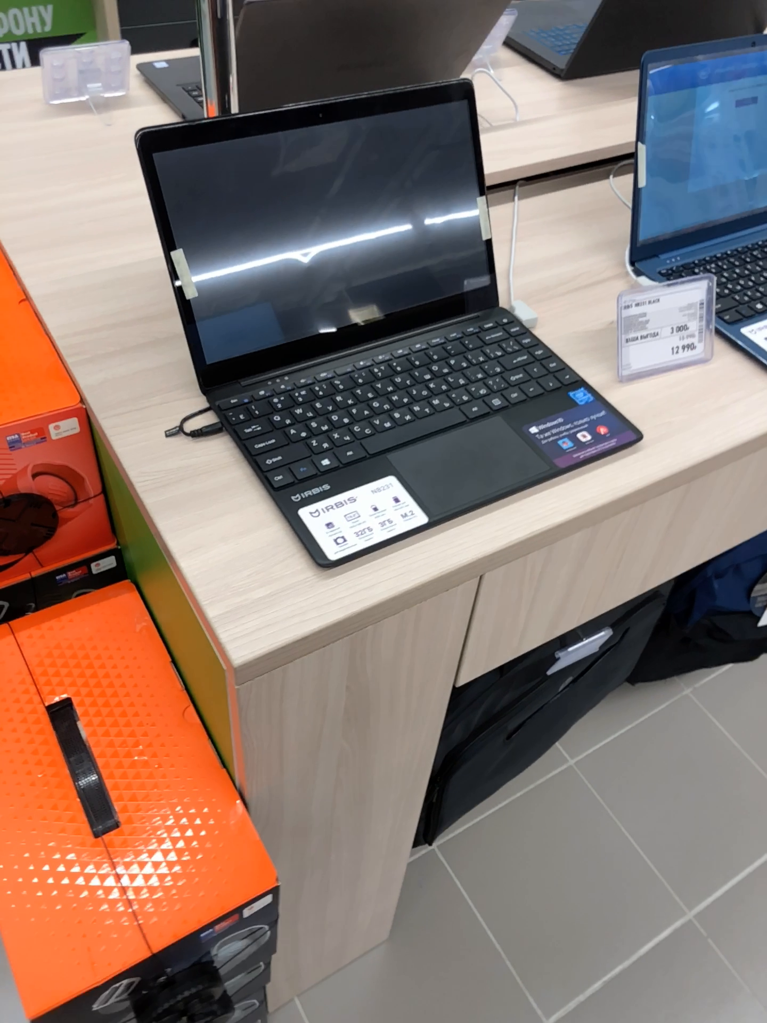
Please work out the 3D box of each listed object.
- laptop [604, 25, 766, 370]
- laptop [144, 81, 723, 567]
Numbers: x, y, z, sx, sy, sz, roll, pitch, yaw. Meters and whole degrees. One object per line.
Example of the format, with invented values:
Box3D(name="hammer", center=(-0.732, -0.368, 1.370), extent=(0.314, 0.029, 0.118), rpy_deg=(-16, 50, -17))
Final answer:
Box3D(name="laptop", center=(0.449, -0.336, 0.862), extent=(0.309, 0.186, 0.266), rpy_deg=(-20, 51, -23))
Box3D(name="laptop", center=(0.021, -0.173, 0.672), extent=(0.305, 0.172, 0.307), rpy_deg=(-21, 53, -23))
